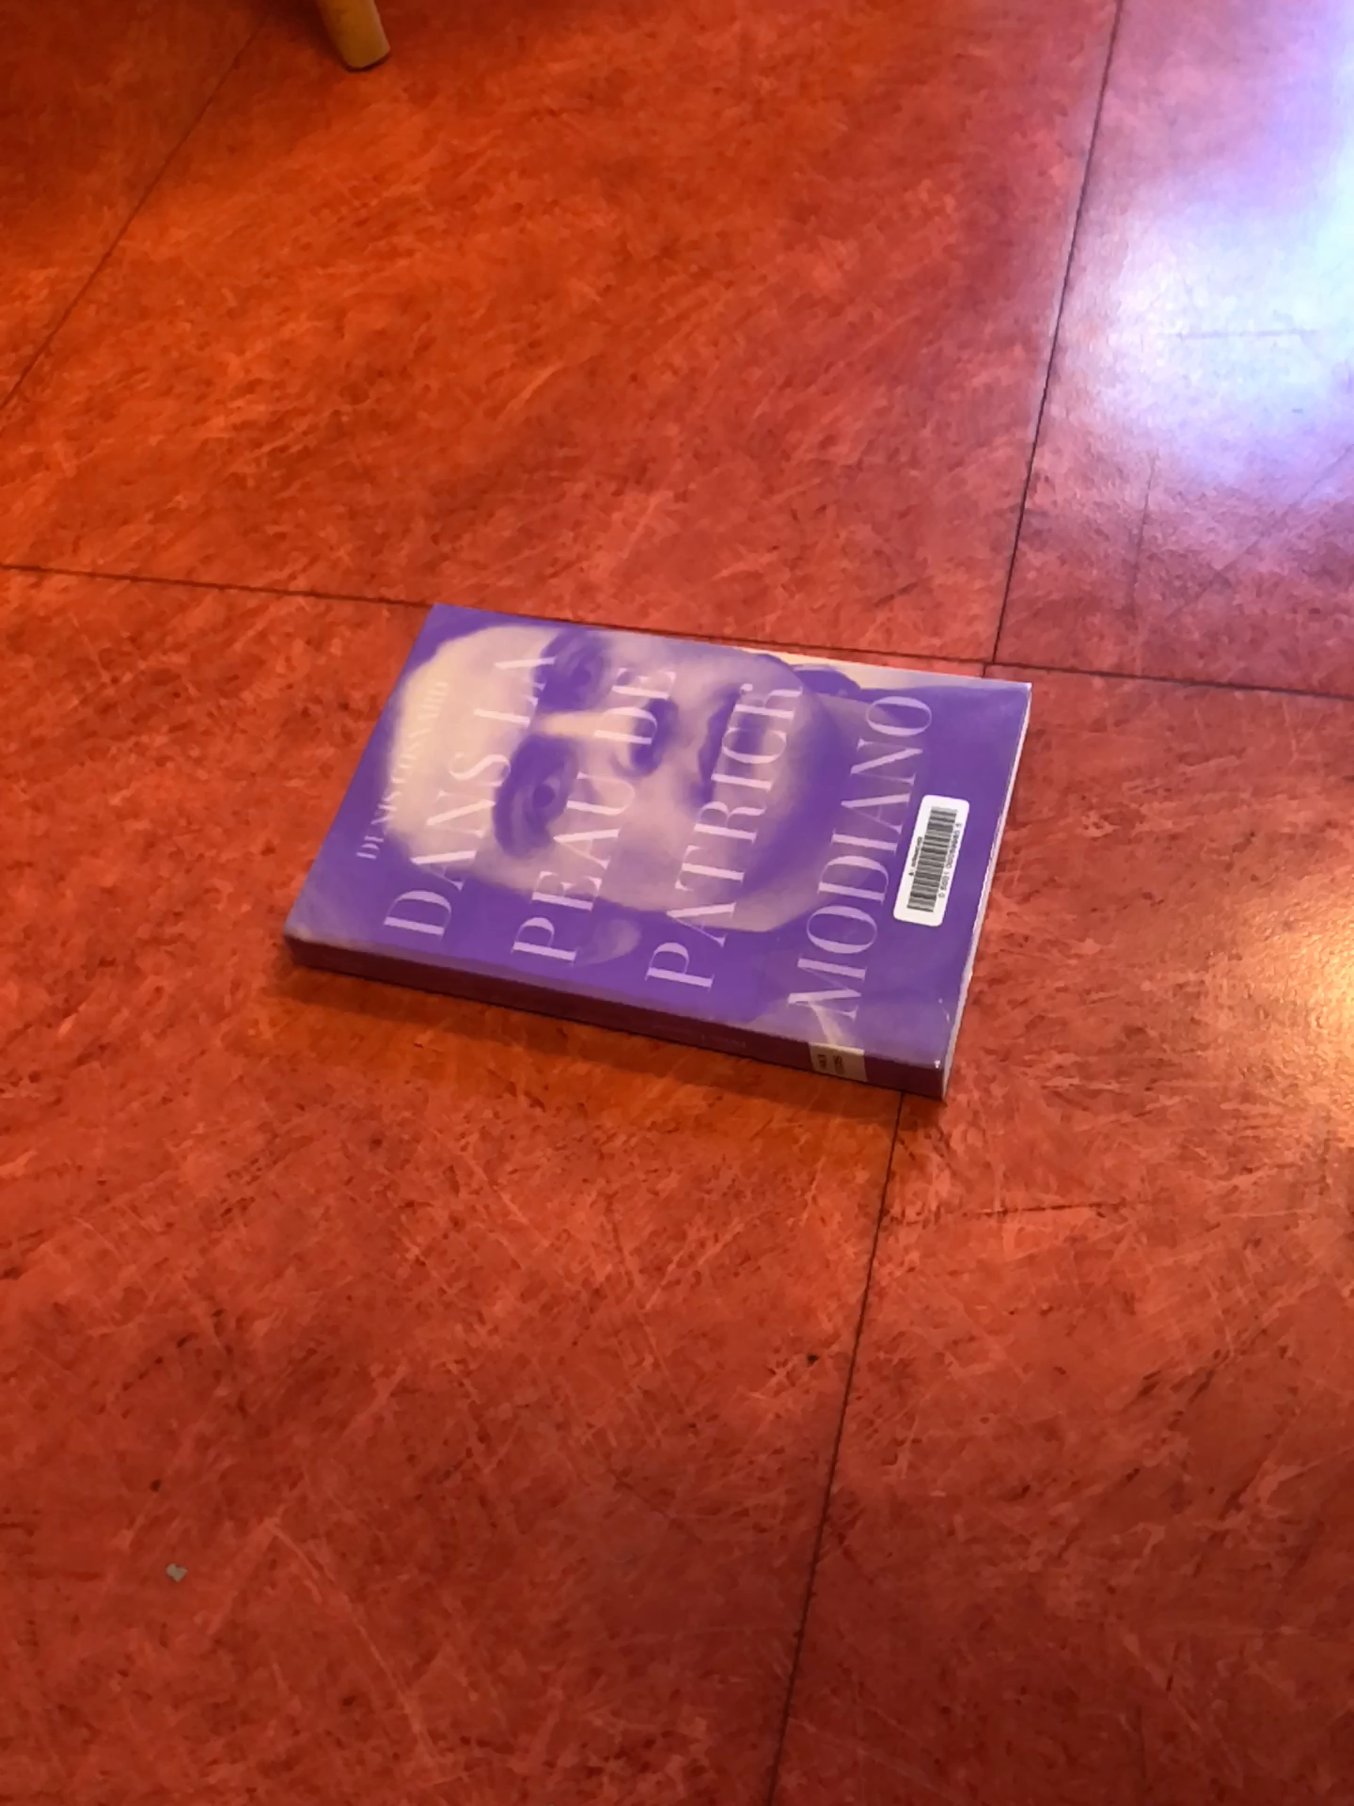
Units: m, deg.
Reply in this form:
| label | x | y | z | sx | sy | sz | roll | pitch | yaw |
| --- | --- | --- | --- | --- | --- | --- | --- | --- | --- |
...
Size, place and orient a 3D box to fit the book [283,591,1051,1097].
| label | x | y | z | sx | sy | sz | roll | pitch | yaw |
| --- | --- | --- | --- | --- | --- | --- | --- | --- | --- |
| book | 0.000 | -0.030 | 0.522 | 0.232 | 0.030 | 0.151 | 10 | 61 | 15 |
